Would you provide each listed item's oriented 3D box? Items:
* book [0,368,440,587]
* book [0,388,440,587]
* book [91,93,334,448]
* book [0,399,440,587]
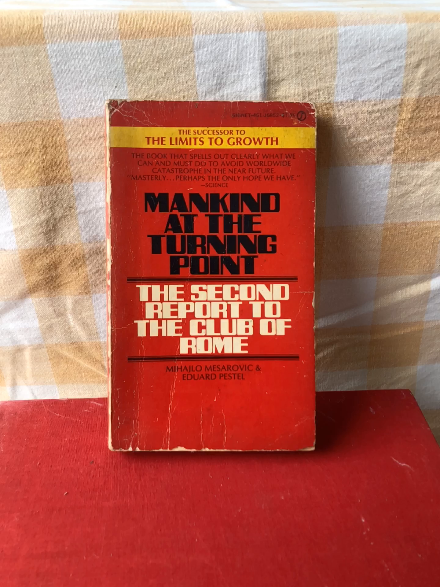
[{"bbox_3d":[-0.008,0.131,0.278,0.280,0.040,0.191,-3,34,1],"label":"book"},{"bbox_3d":[-0.013,0.144,0.275,0.270,0.040,0.191,-3,34,1],"label":"book"},{"bbox_3d":[-0.003,-0.010,0.254,0.110,0.170,0.040,0,9,-1],"label":"book"},{"bbox_3d":[-0.009,0.148,0.263,0.240,0.040,0.191,-3,34,1],"label":"book"}]
